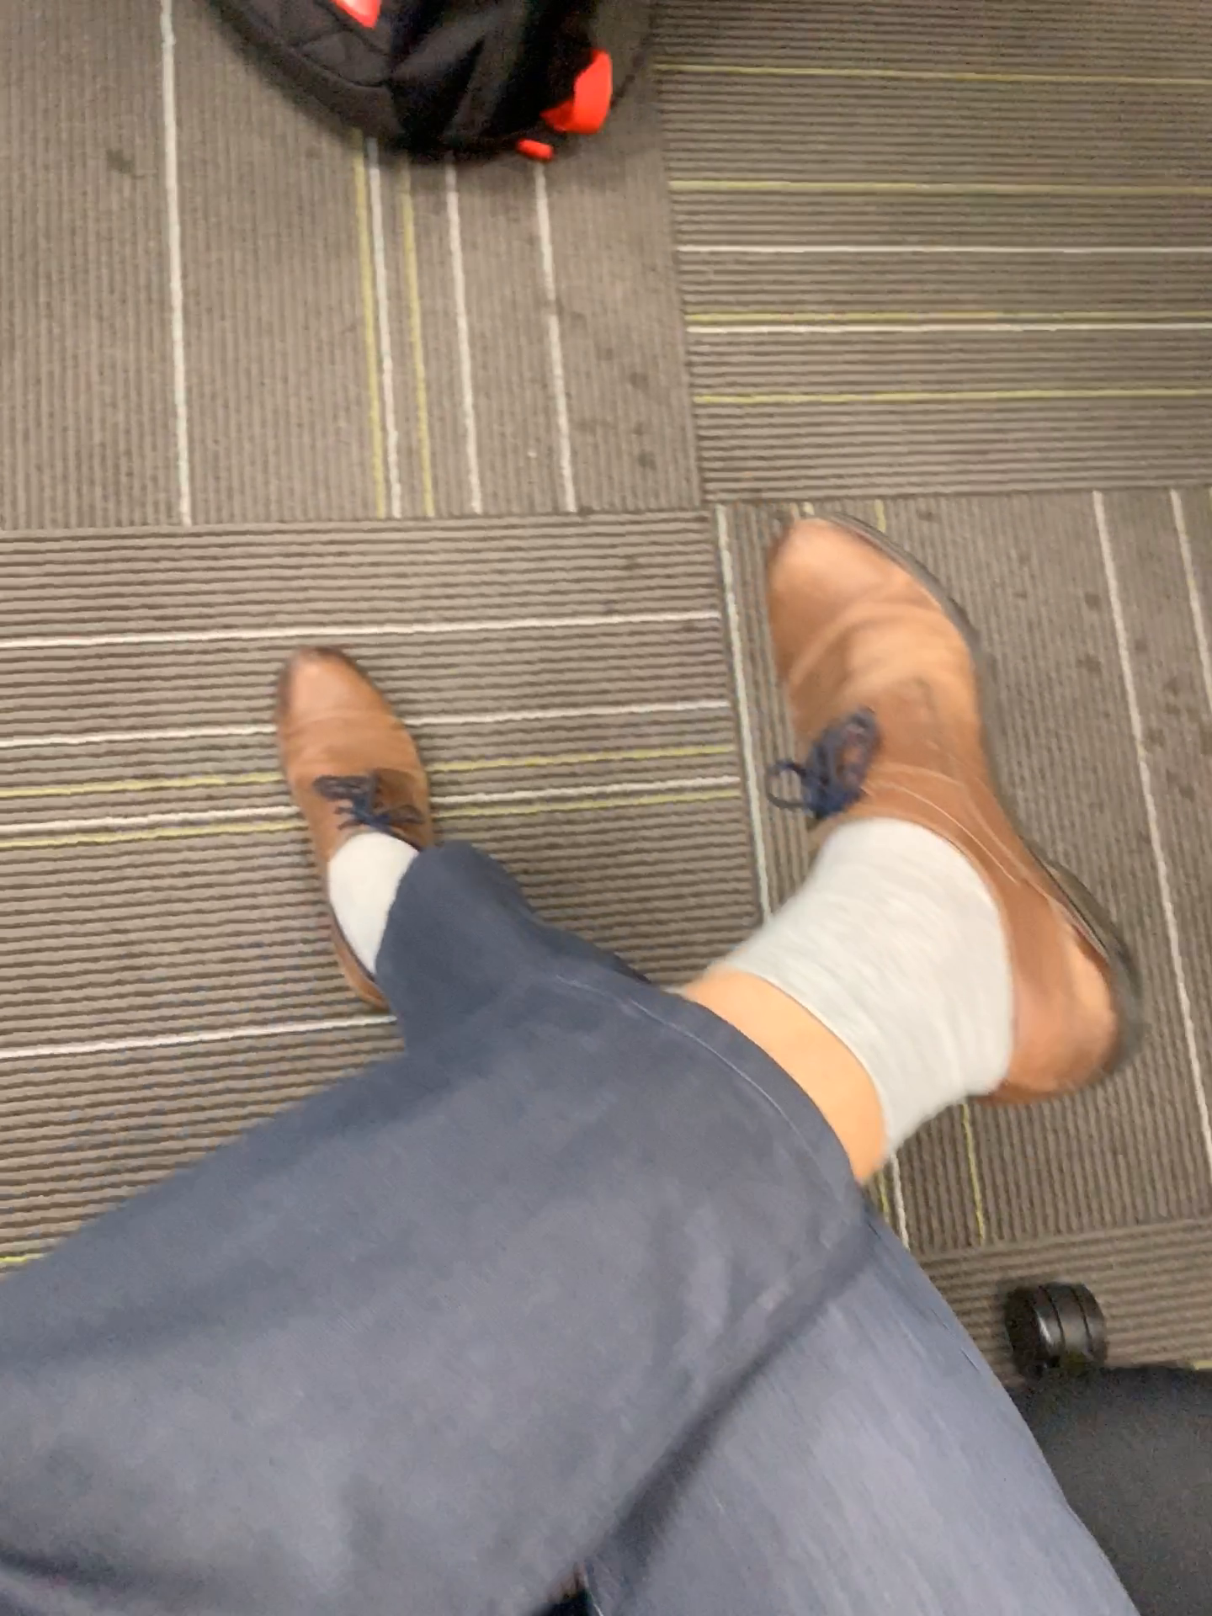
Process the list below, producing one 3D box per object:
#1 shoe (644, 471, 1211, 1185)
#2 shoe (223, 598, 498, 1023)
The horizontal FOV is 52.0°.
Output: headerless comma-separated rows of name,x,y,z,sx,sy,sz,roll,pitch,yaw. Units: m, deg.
shoe,0.138,0.005,0.564,0.082,0.114,0.294,-13,74,-40
shoe,-0.174,0.003,0.888,0.112,0.068,0.276,-17,82,-11
